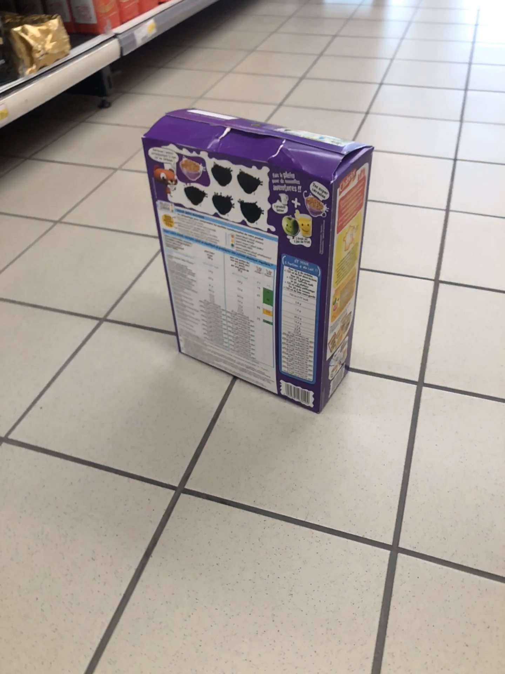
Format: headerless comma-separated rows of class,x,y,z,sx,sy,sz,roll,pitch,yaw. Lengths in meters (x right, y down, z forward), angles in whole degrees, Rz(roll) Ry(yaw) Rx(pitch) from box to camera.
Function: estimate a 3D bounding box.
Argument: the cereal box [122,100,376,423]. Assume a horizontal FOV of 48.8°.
cereal box,-0.002,-0.069,0.551,0.200,0.268,0.081,21,45,25
